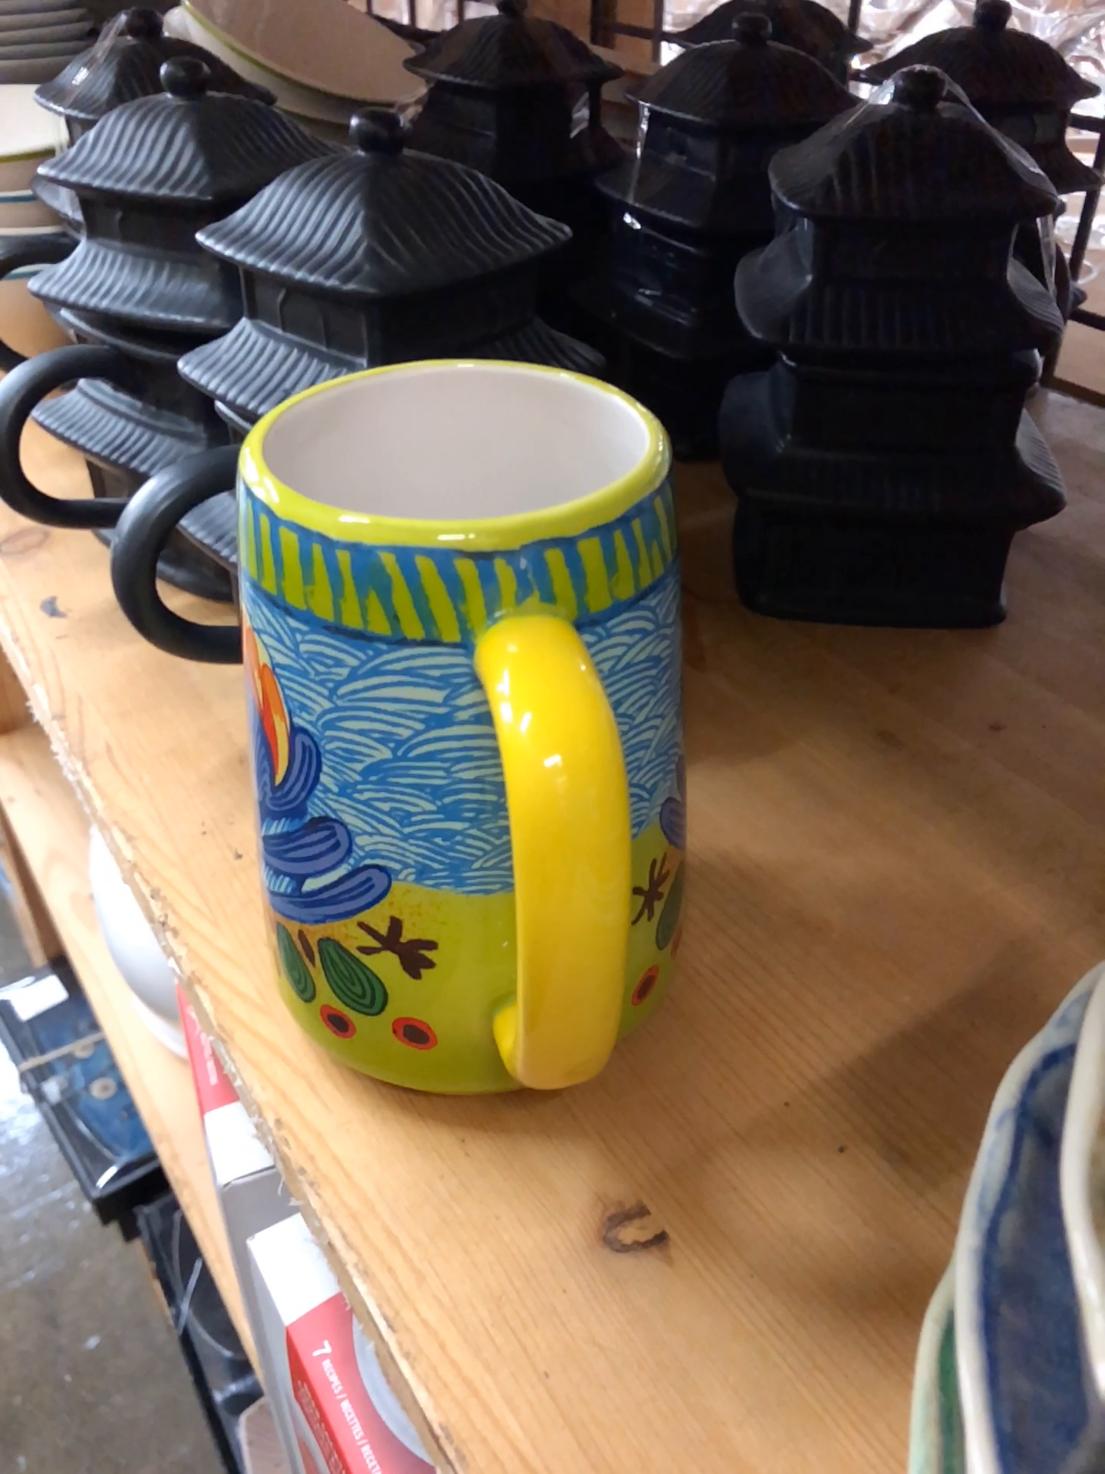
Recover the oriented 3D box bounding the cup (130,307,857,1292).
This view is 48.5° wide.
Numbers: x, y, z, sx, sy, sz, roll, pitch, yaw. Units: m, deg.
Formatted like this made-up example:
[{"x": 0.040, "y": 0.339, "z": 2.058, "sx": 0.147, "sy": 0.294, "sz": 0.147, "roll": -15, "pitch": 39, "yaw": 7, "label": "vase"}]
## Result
[{"x": -0.018, "y": 0.005, "z": 0.224, "sx": 0.086, "sy": 0.125, "sz": 0.114, "roll": -8, "pitch": 37, "yaw": -11, "label": "cup"}]
